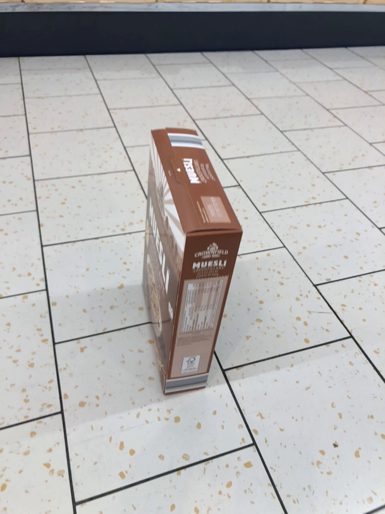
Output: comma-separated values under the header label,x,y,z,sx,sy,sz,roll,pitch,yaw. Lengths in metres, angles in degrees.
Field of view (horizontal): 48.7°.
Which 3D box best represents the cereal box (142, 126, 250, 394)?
label,x,y,z,sx,sy,sz,roll,pitch,yaw
cereal box,-0.014,0.003,0.503,0.070,0.238,0.201,-4,42,-11
